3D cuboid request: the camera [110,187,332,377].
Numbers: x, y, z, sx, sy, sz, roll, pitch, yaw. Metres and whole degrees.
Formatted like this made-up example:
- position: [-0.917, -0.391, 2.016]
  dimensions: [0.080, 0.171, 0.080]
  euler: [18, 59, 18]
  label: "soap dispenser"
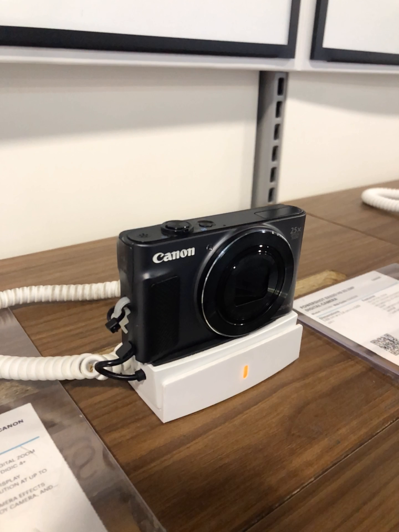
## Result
- position: [0.013, 0.001, 0.205]
  dimensions: [0.100, 0.060, 0.030]
  euler: [-14, 26, -33]
  label: "camera"
